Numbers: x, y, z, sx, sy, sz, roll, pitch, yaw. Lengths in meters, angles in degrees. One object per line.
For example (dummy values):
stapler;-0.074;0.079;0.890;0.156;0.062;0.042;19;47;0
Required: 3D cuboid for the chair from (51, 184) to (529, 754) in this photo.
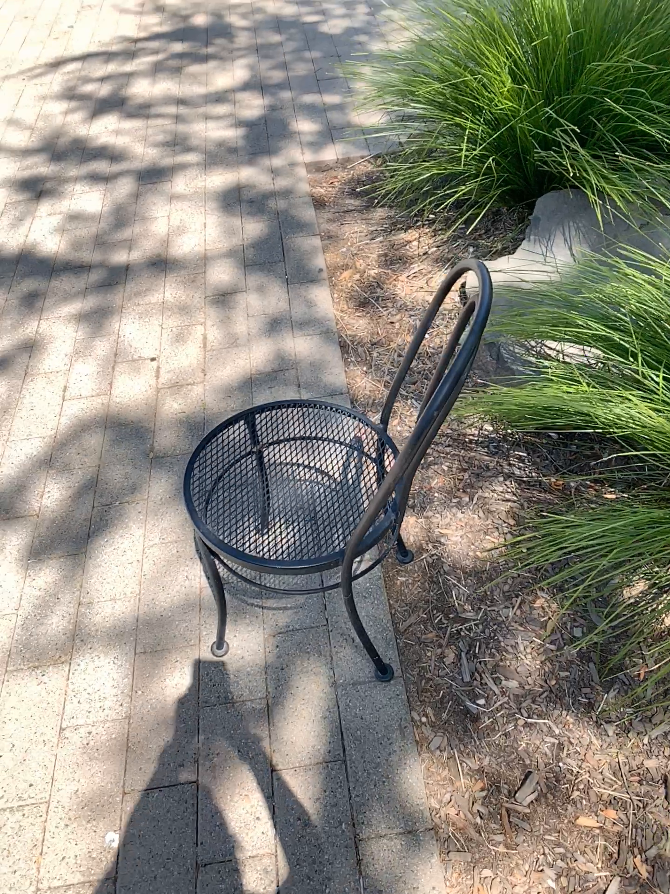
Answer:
chair;0.005;0.108;1.296;0.532;0.997;0.460;8;50;13
